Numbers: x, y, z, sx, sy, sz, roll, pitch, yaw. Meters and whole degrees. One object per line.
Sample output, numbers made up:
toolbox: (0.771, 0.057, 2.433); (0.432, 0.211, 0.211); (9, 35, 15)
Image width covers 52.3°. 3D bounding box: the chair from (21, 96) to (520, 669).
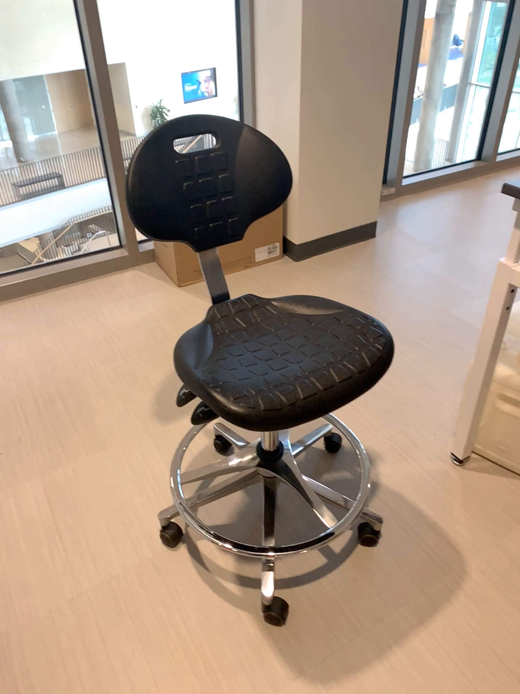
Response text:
chair: (0.019, 0.024, 1.246); (0.673, 0.961, 0.664); (-25, 42, -30)
